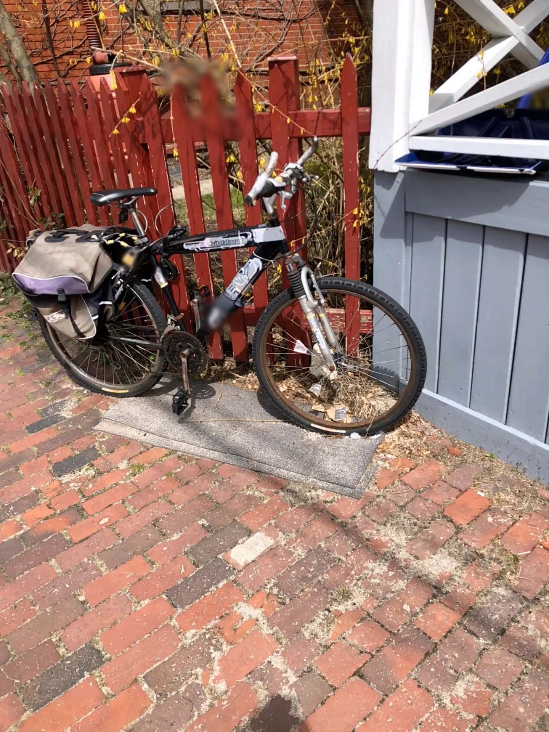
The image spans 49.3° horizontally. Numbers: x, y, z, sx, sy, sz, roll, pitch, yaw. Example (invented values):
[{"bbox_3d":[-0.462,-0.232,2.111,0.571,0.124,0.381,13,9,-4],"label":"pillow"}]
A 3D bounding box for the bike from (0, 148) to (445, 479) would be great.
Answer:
[{"bbox_3d":[-0.274,-0.265,2.427,1.724,1.000,0.676,5,28,20],"label":"bike"}]
